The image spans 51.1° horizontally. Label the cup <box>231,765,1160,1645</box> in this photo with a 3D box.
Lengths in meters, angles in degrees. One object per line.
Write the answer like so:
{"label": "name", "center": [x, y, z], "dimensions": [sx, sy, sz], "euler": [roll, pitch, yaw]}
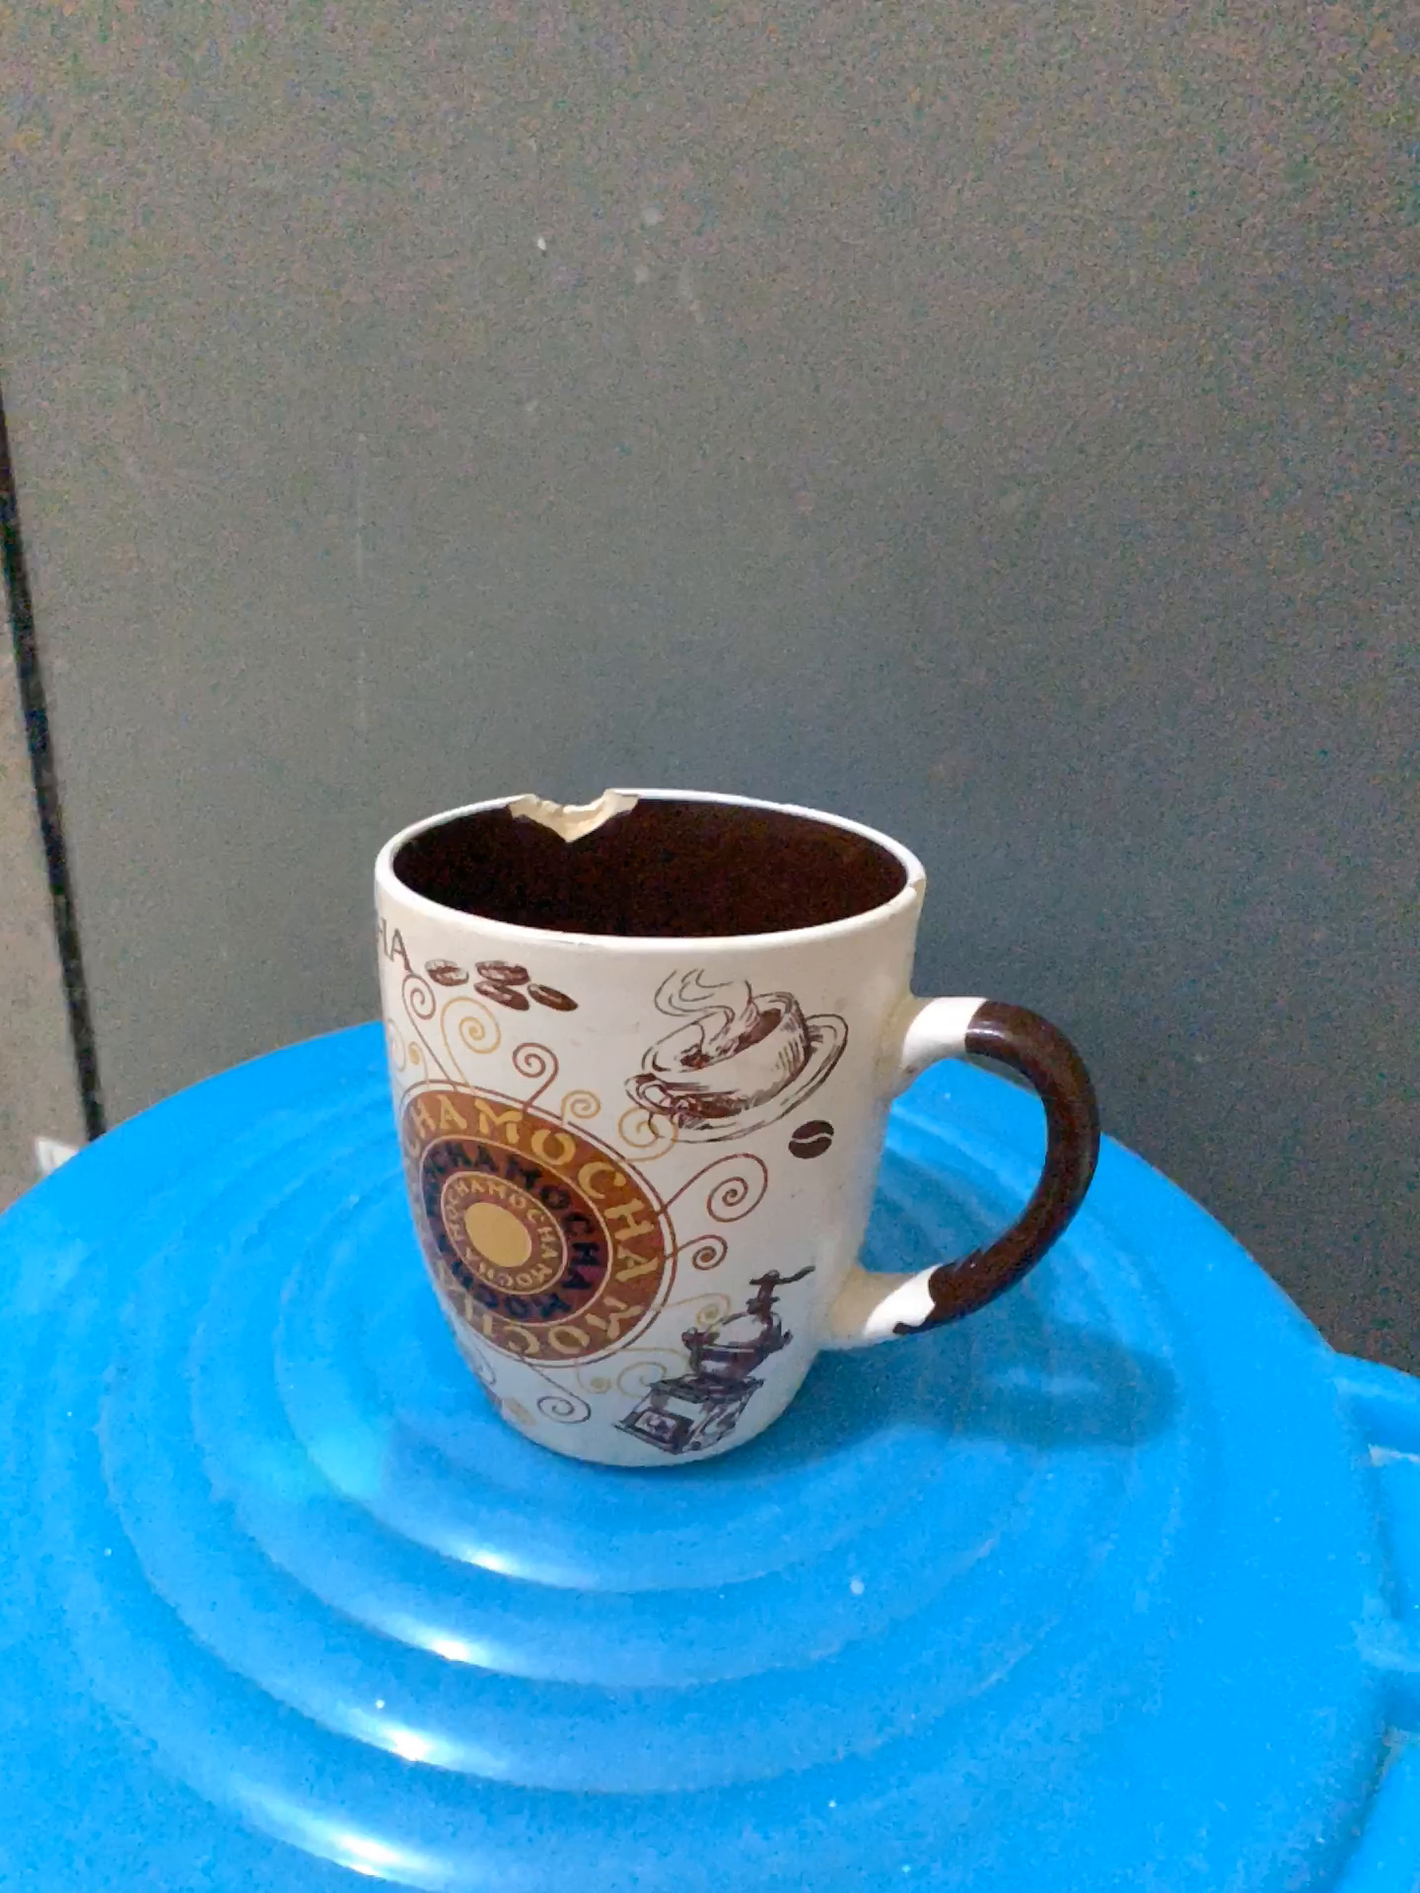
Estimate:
{"label": "cup", "center": [0.000, 0.027, 0.228], "dimensions": [0.110, 0.080, 0.080], "euler": [12, 22, 24]}
